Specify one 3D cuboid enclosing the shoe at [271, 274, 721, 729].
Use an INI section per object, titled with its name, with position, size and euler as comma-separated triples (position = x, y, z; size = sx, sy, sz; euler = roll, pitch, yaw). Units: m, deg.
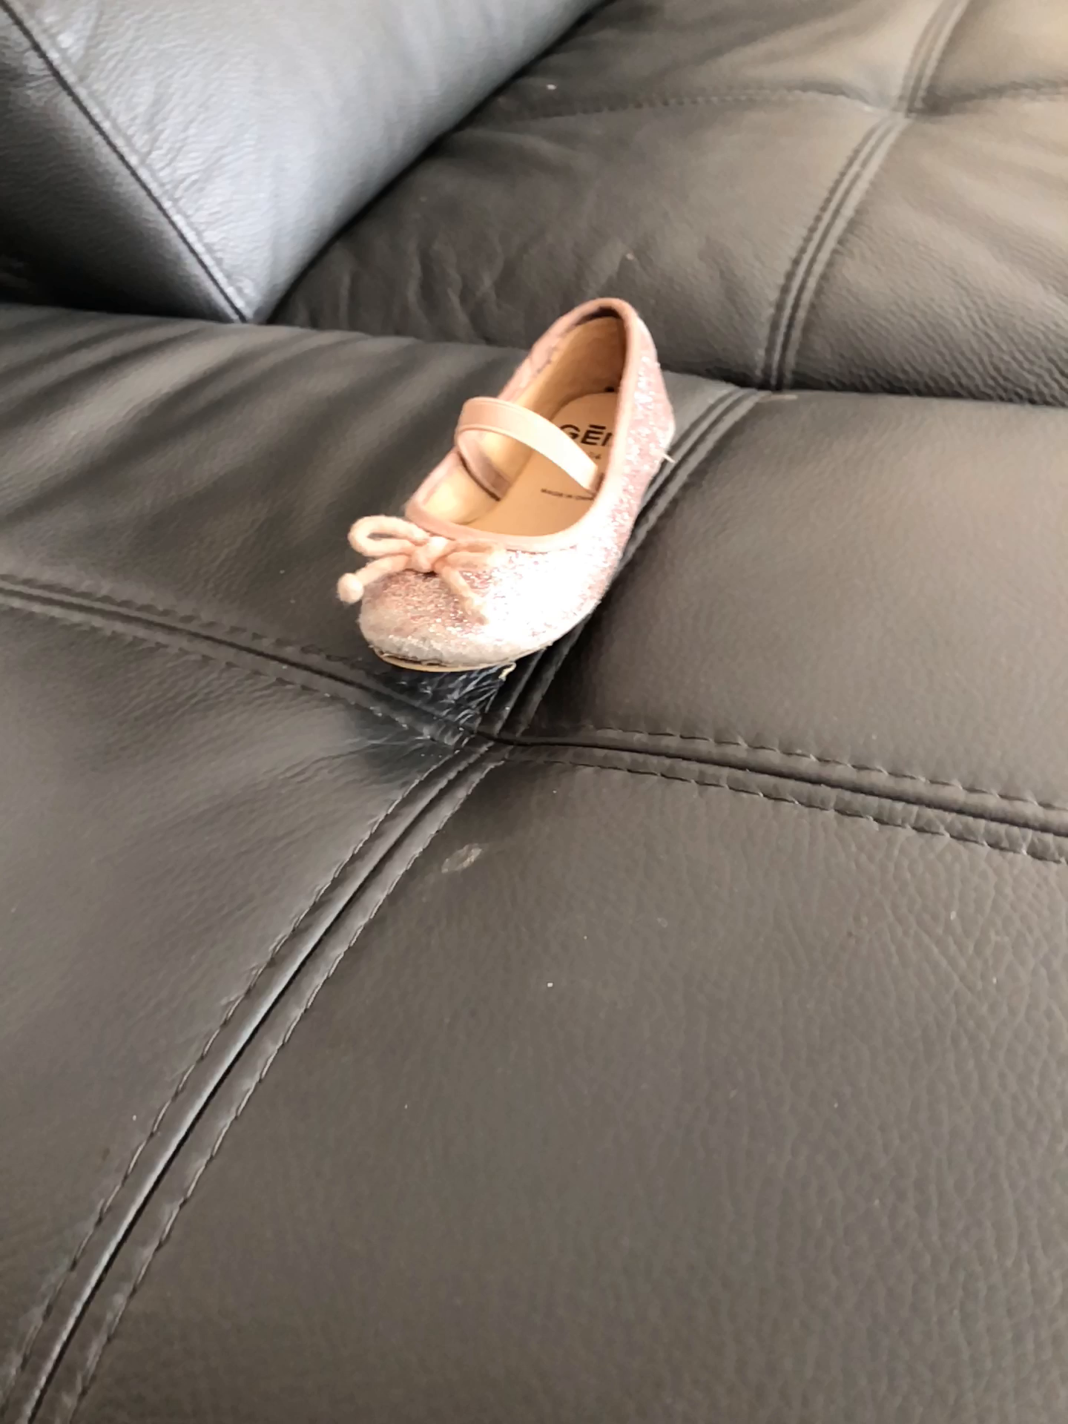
[shoe]
position = -0.002, -0.072, 0.353
size = 0.070, 0.040, 0.161
euler = 13, 49, 20
